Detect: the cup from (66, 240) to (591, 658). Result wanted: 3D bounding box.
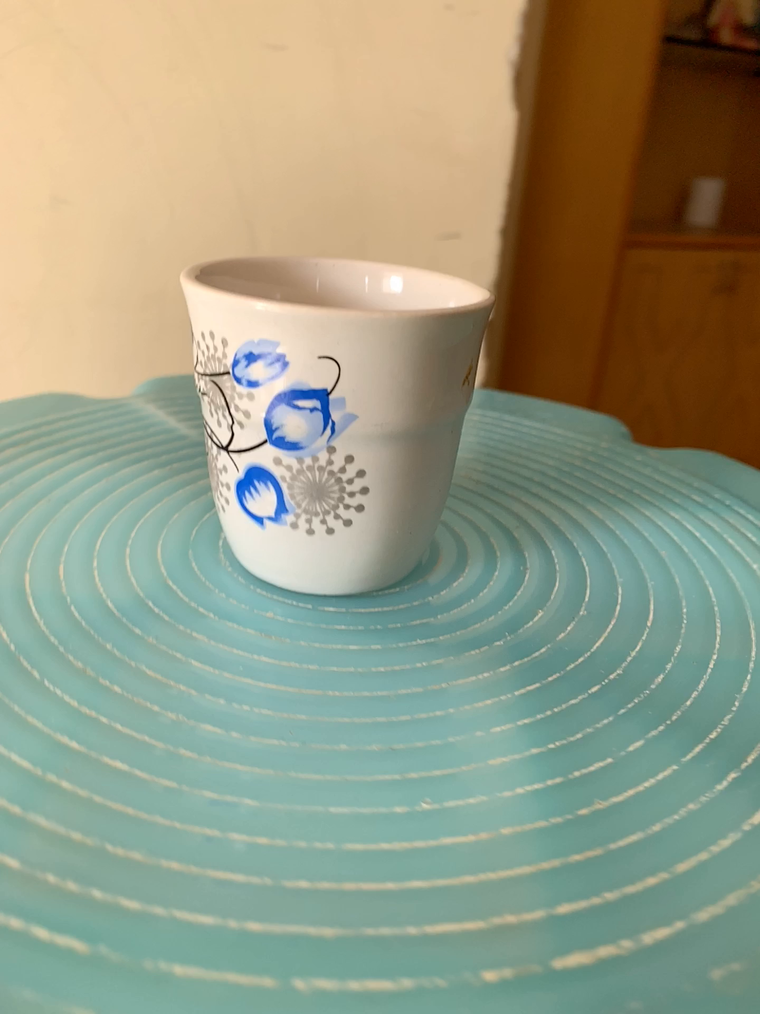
[{"bbox_3d":[-0.013,-0.024,0.186,0.090,0.060,0.070,22,30,34],"label":"cup"}]
